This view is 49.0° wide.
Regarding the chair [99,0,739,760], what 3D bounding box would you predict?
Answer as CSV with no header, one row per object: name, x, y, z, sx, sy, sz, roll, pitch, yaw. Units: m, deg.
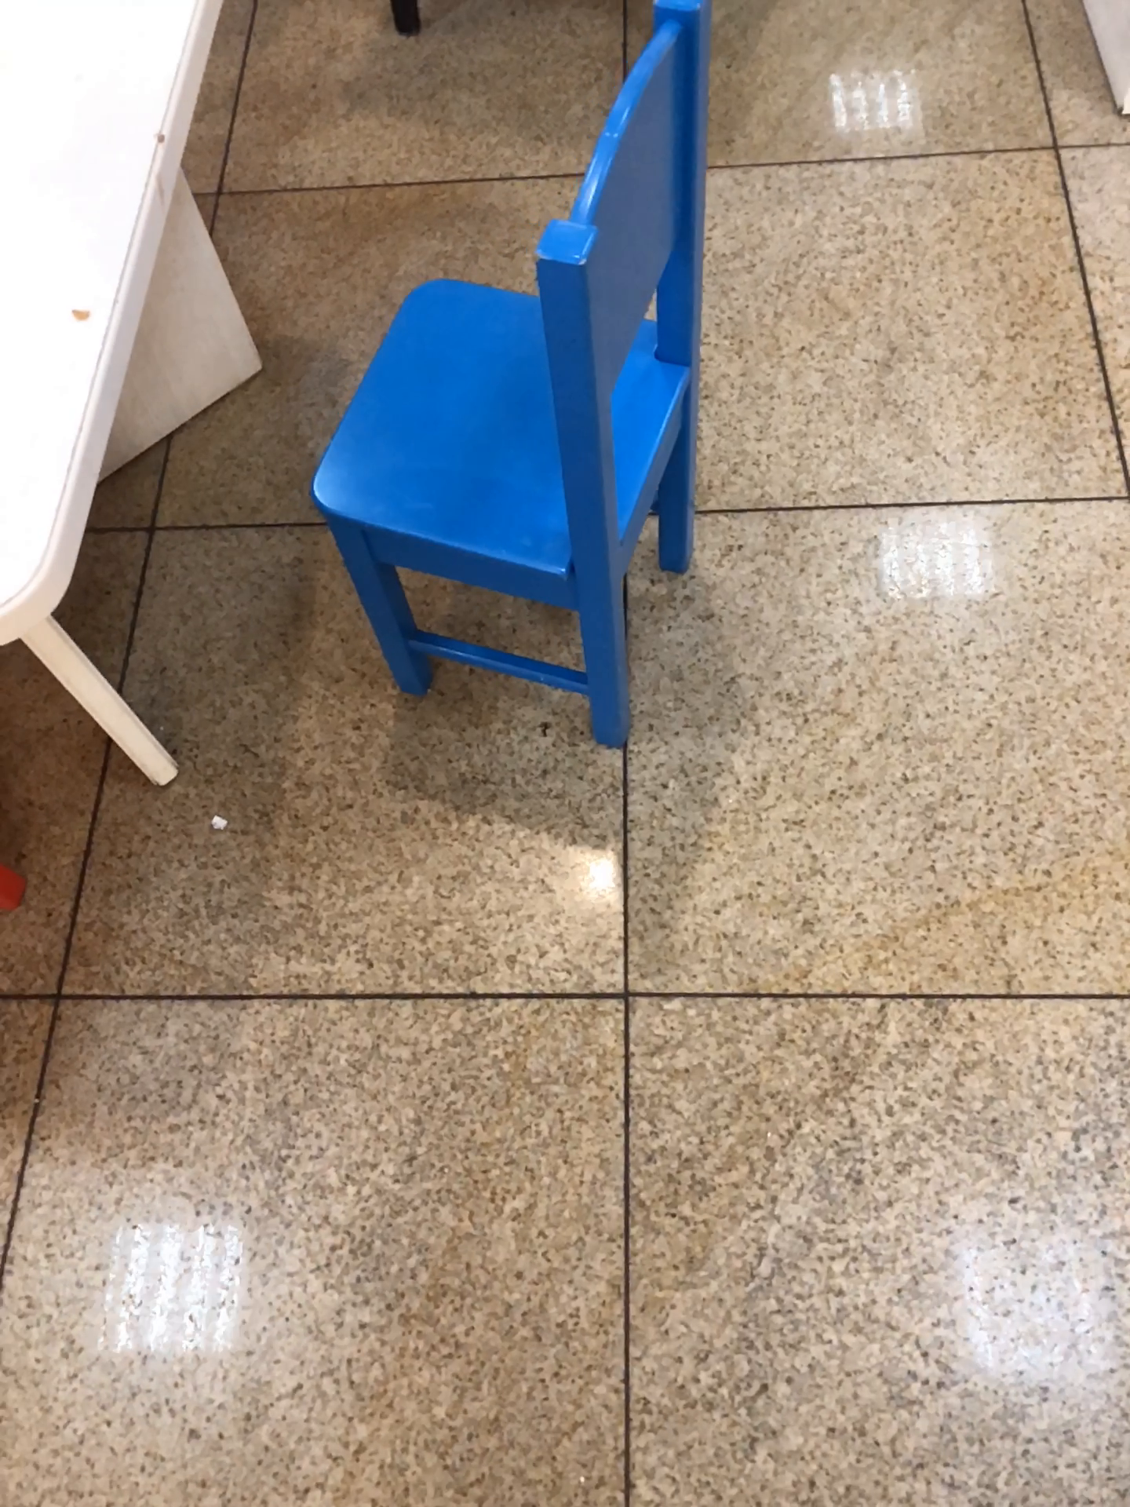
chair,-0.064,-0.304,1.088,0.330,0.649,0.290,16,66,12
